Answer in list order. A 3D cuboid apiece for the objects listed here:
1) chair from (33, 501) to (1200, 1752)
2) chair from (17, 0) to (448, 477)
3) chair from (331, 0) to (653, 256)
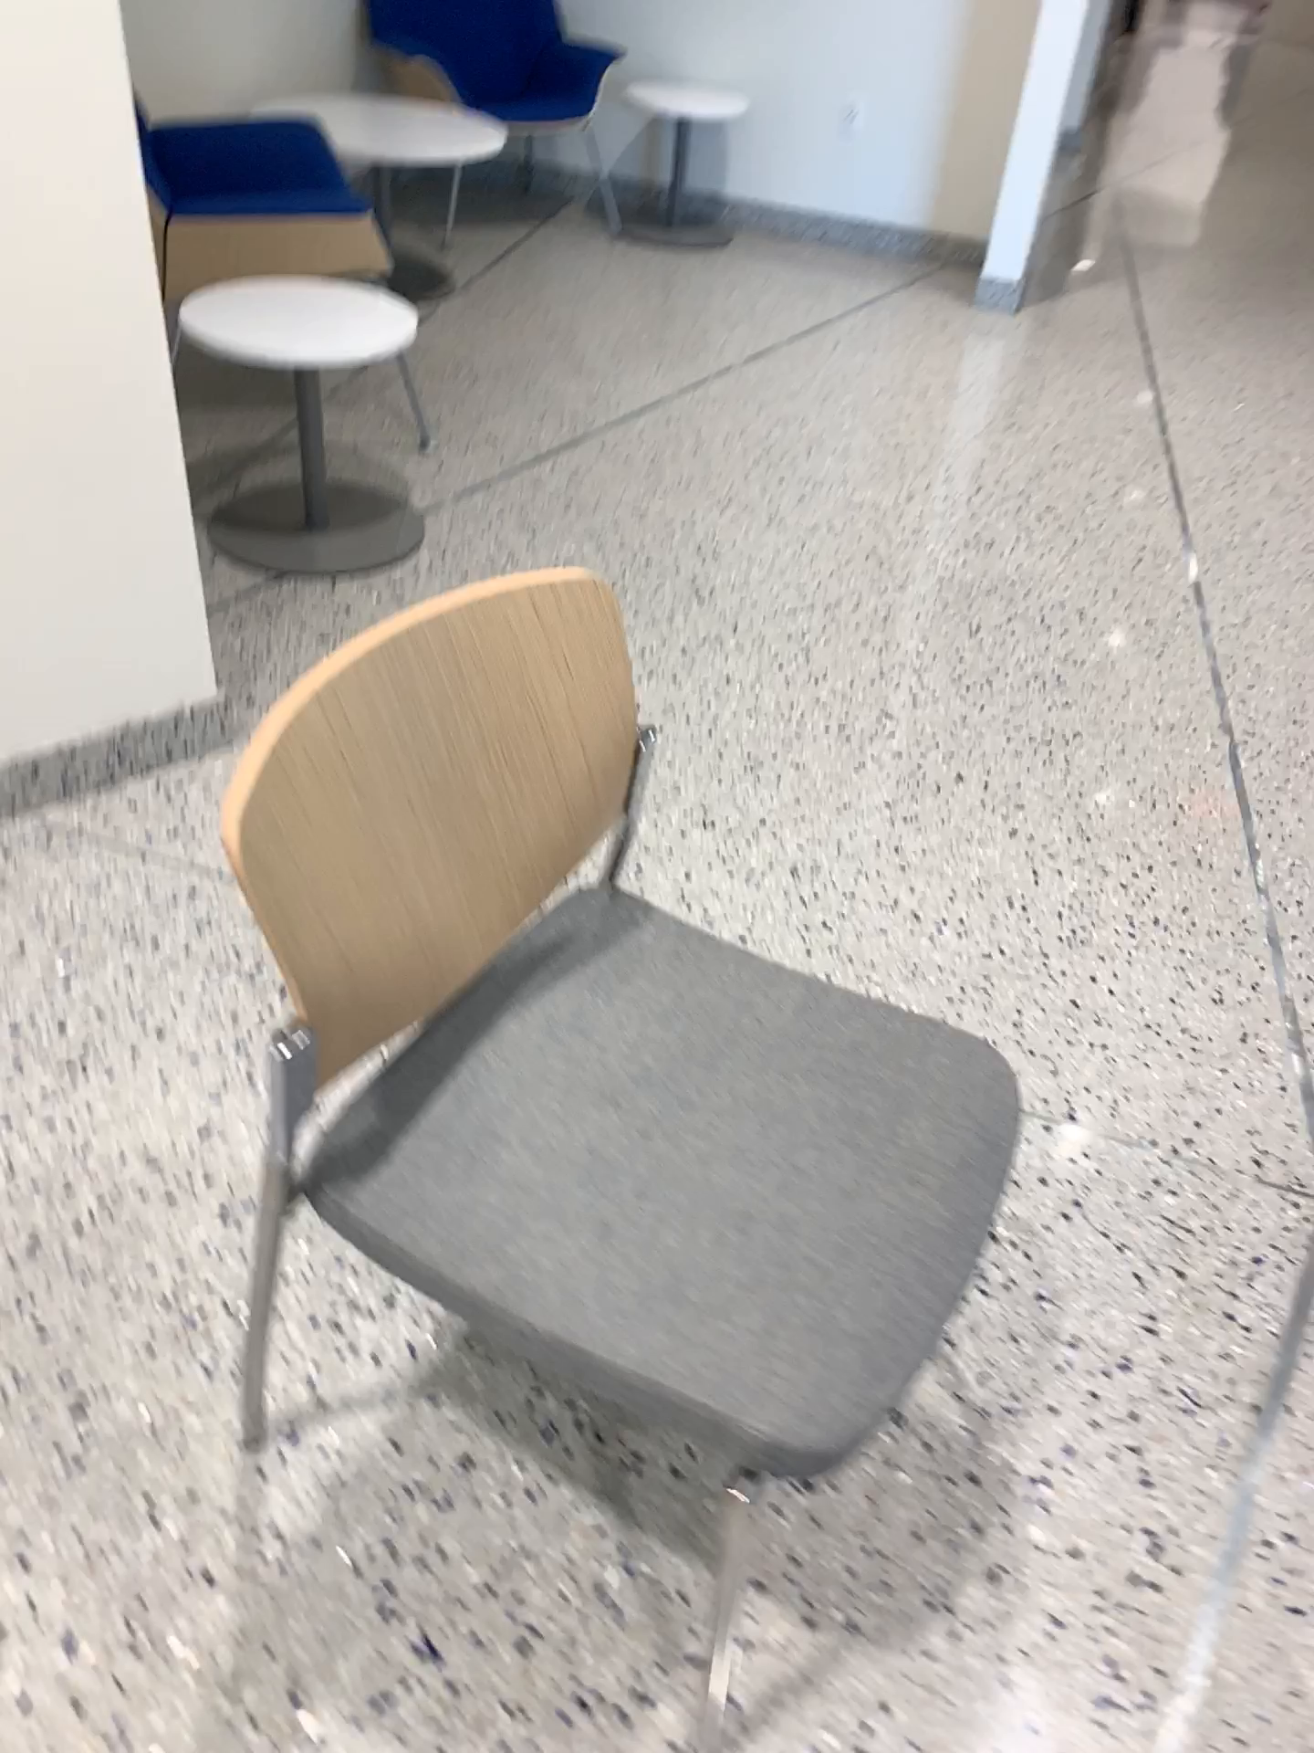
[{"bbox_3d":[-0.023,0.214,1.135,0.592,0.768,0.541,24,42,20],"label":"chair"},{"bbox_3d":[-0.934,-1.439,2.987,0.762,0.758,0.773,-9,41,-18],"label":"chair"},{"bbox_3d":[-0.574,-2.655,4.527,0.749,0.768,0.816,-18,45,-27],"label":"chair"}]
